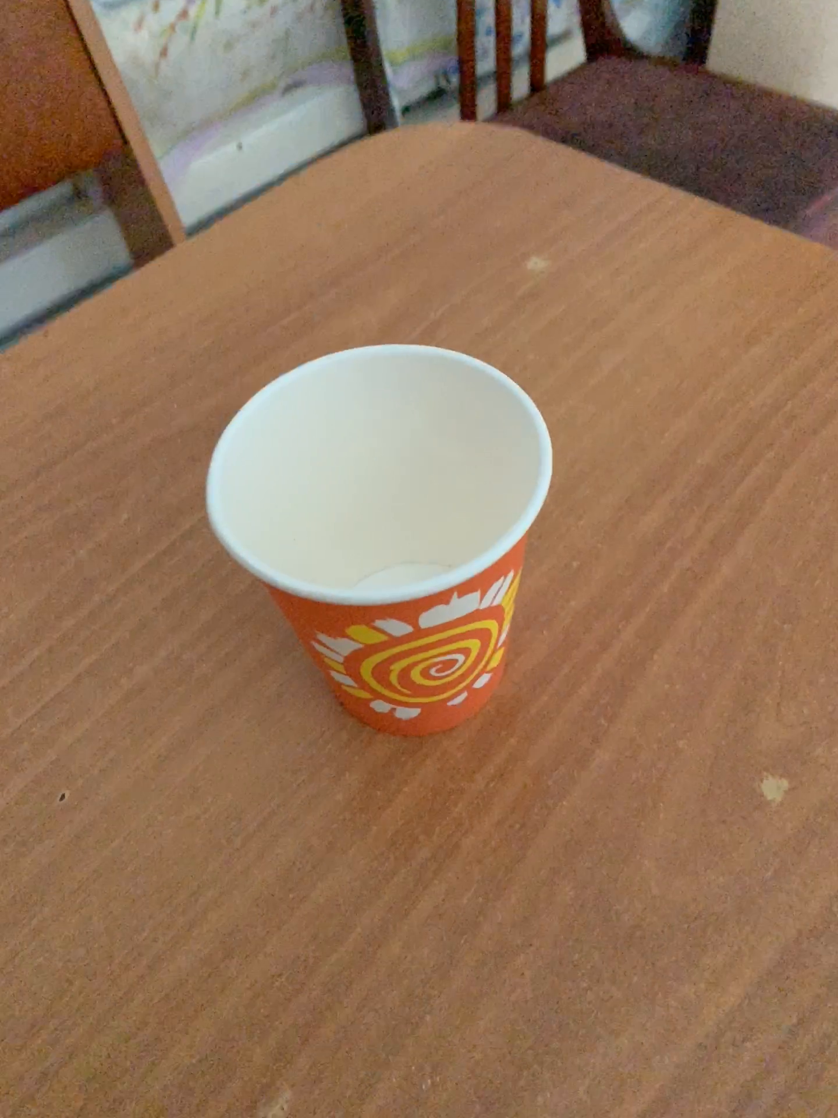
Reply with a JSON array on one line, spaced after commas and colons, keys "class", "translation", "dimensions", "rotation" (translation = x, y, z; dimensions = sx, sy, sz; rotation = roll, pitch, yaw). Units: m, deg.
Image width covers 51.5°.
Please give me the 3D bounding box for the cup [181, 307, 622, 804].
[{"class": "cup", "translation": [-0.005, 0.001, 0.231], "dimensions": [0.081, 0.083, 0.079], "rotation": [-3, 53, 4]}]
